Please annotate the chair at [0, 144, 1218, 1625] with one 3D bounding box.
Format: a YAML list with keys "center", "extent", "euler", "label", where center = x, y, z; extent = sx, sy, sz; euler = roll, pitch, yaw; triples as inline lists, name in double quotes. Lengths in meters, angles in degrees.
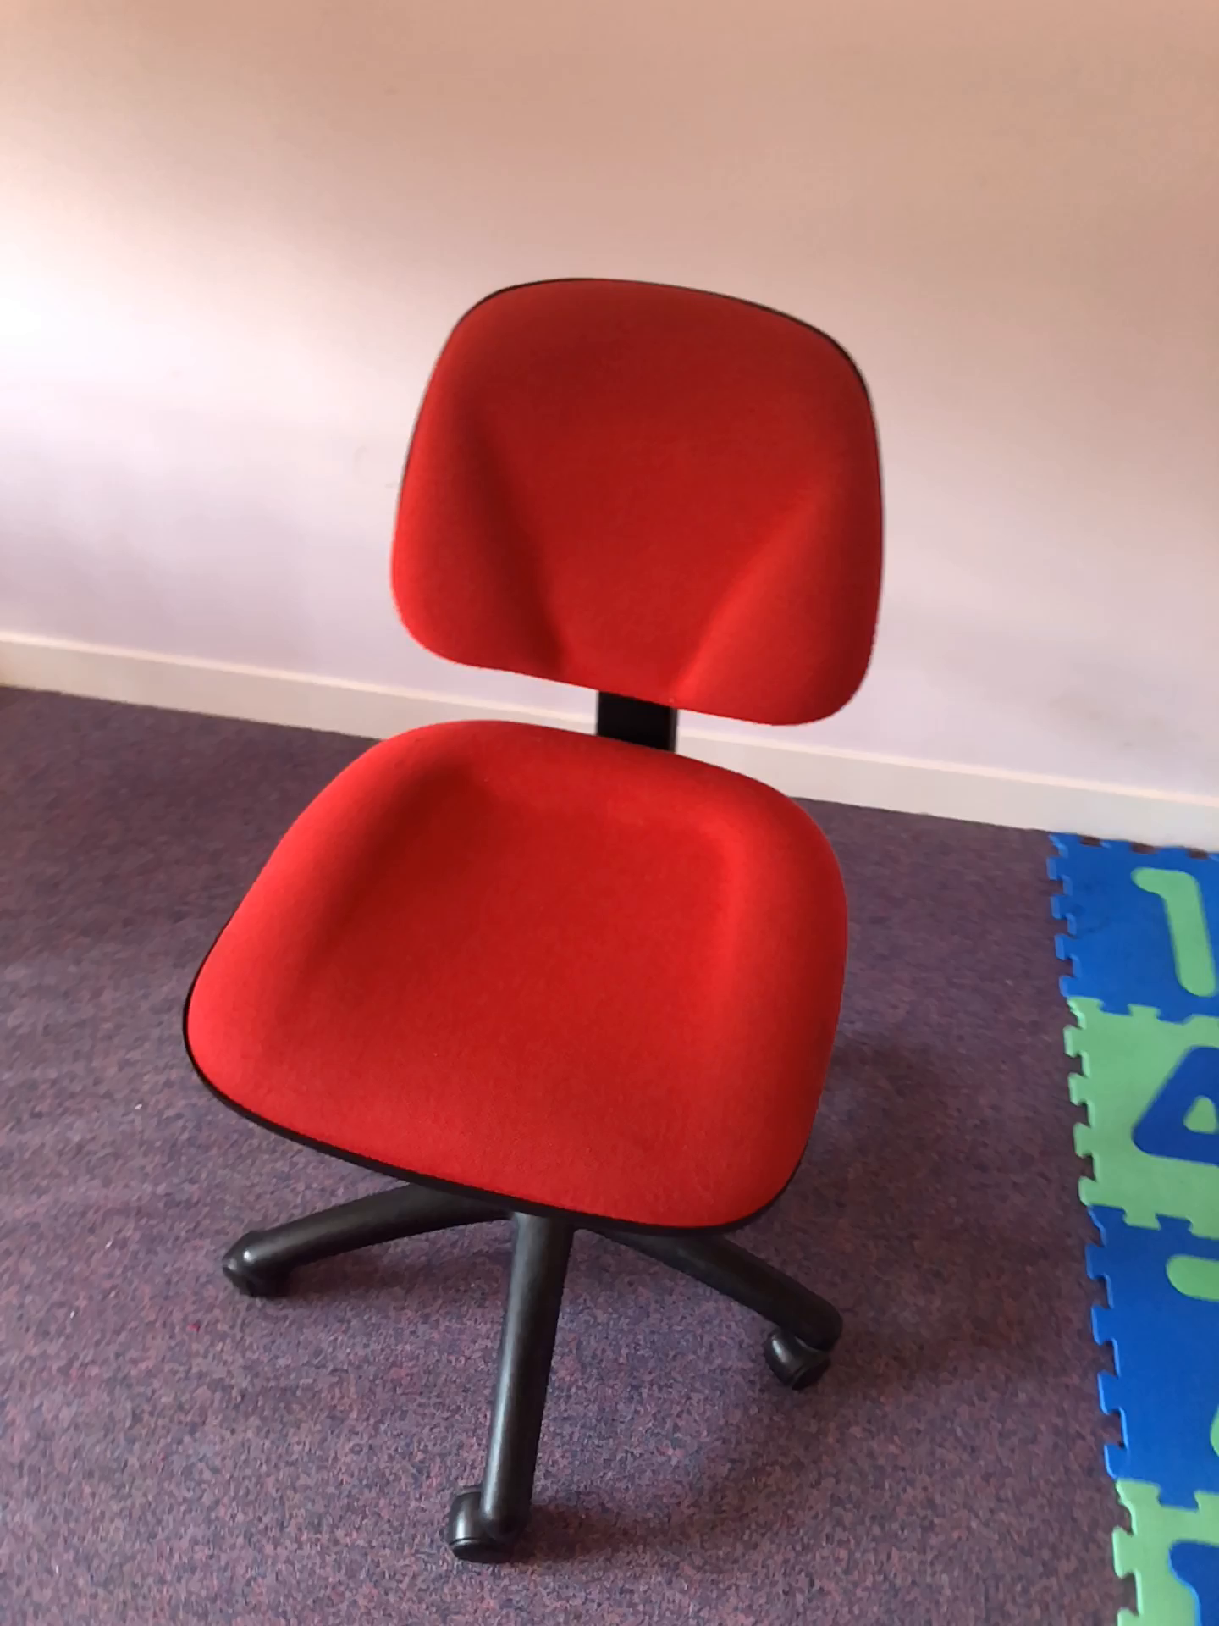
- center: [-0.030, 0.111, 1.044]
  extent: [0.640, 0.895, 0.674]
  euler: [13, 46, 9]
  label: "chair"
